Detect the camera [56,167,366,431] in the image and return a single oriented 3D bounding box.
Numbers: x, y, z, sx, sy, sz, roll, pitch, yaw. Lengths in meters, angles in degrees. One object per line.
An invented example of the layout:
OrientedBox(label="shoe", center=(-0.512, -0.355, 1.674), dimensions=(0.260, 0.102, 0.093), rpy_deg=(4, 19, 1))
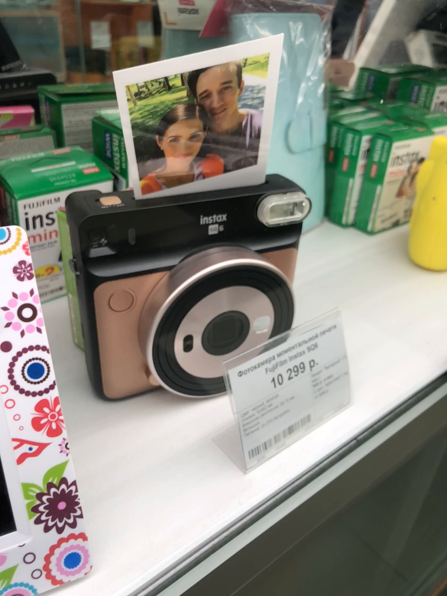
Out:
OrientedBox(label="camera", center=(-0.008, -0.005, 0.274), dimensions=(0.140, 0.104, 0.060), rpy_deg=(-12, 36, -23))
